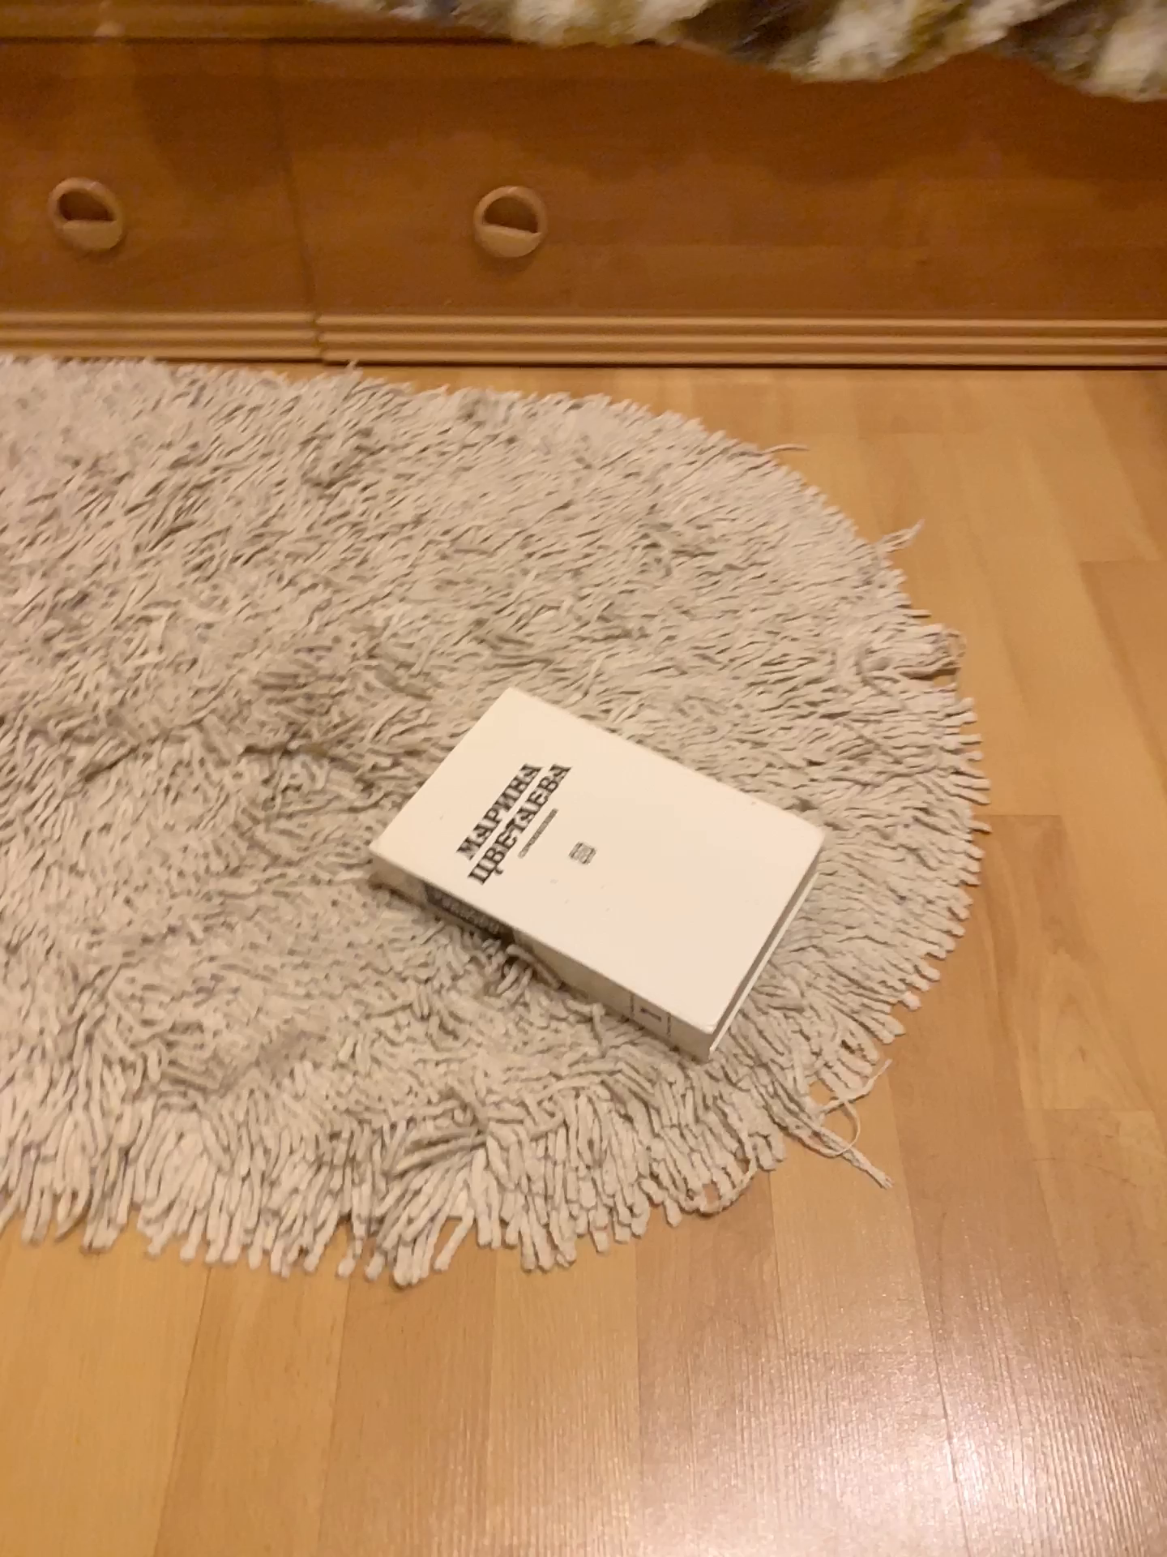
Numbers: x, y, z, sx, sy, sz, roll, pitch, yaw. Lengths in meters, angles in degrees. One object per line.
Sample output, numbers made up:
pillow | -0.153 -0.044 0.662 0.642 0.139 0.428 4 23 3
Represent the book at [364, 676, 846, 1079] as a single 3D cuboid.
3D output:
book | 0.012 0.043 0.633 0.208 0.040 0.141 26 56 19
